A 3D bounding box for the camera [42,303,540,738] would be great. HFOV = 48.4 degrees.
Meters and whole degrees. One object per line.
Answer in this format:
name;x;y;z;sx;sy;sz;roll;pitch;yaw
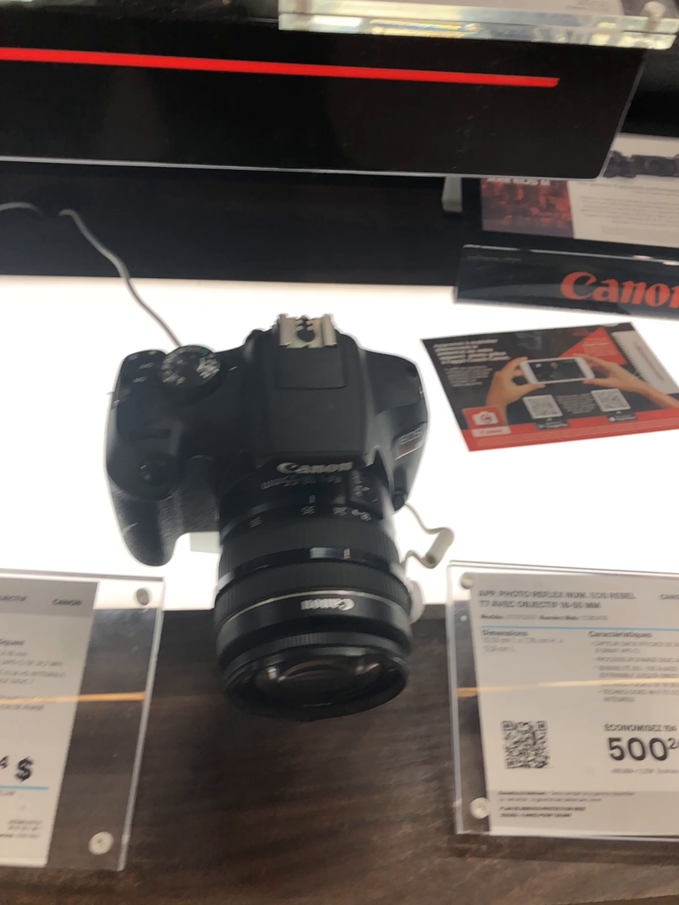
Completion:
camera;-0.019;0.021;0.268;0.128;0.099;0.112;-2;47;-7
